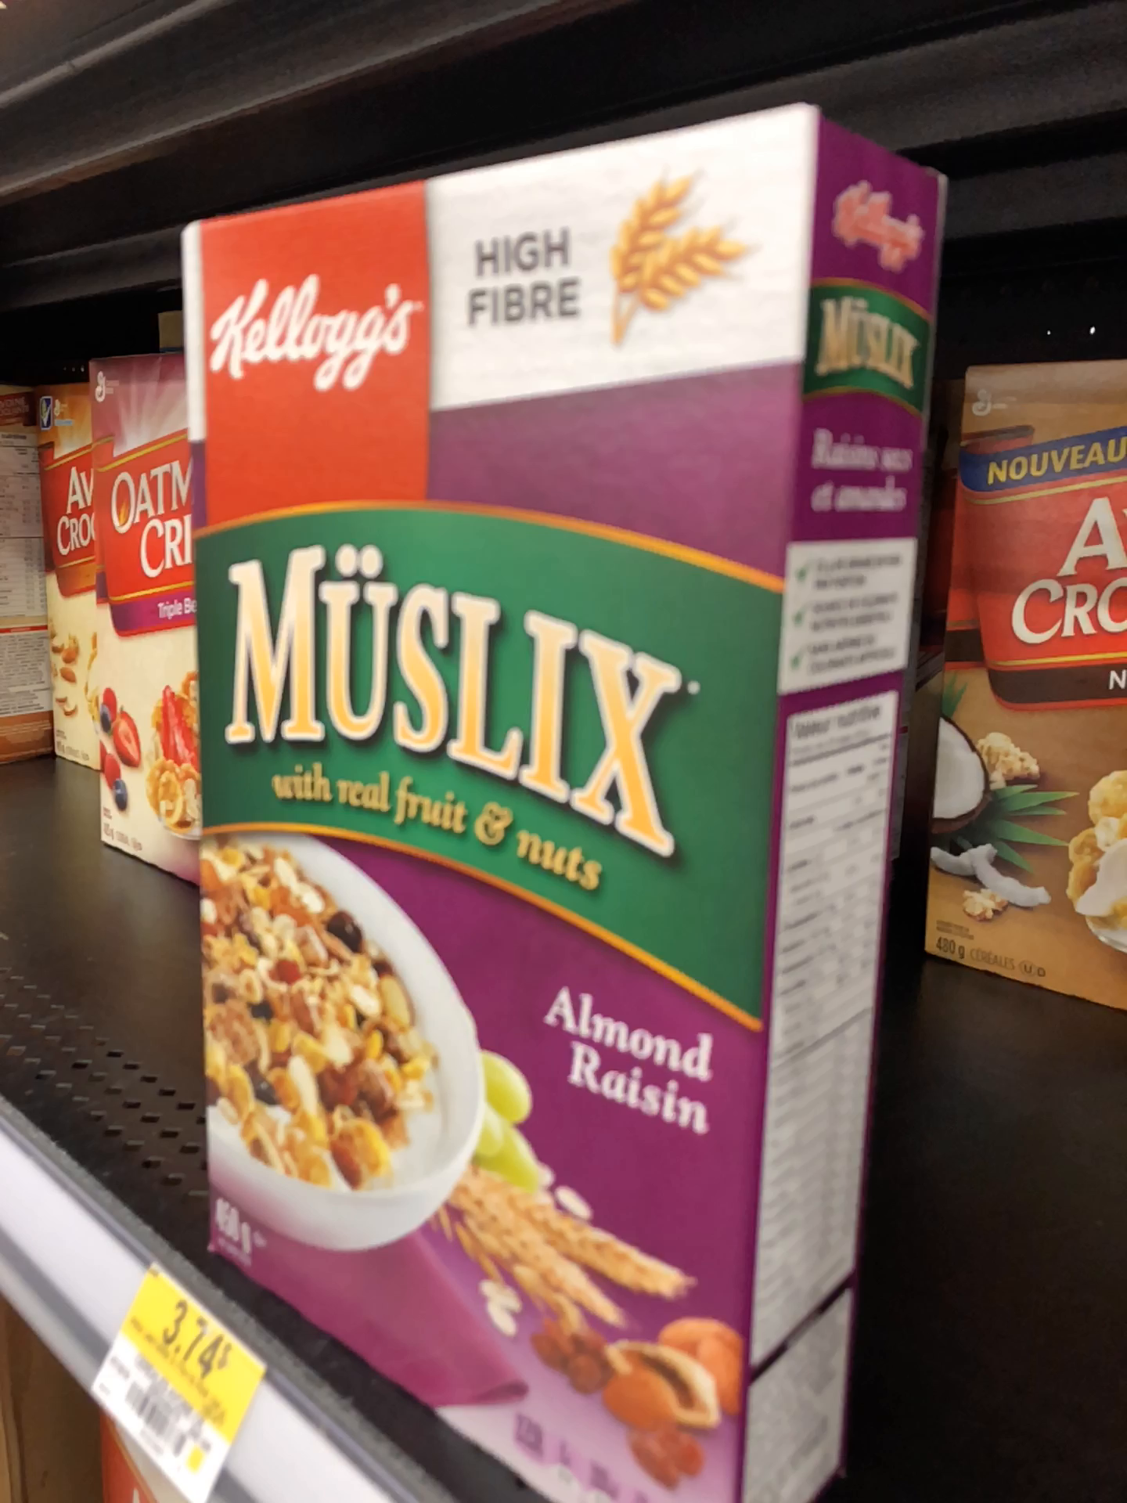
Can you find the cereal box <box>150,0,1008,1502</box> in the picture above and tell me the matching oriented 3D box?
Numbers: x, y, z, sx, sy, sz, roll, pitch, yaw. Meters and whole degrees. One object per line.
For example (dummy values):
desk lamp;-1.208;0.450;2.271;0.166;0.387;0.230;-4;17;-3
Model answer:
cereal box;-0.012;0.007;0.266;0.170;0.259;0.060;12;16;41
